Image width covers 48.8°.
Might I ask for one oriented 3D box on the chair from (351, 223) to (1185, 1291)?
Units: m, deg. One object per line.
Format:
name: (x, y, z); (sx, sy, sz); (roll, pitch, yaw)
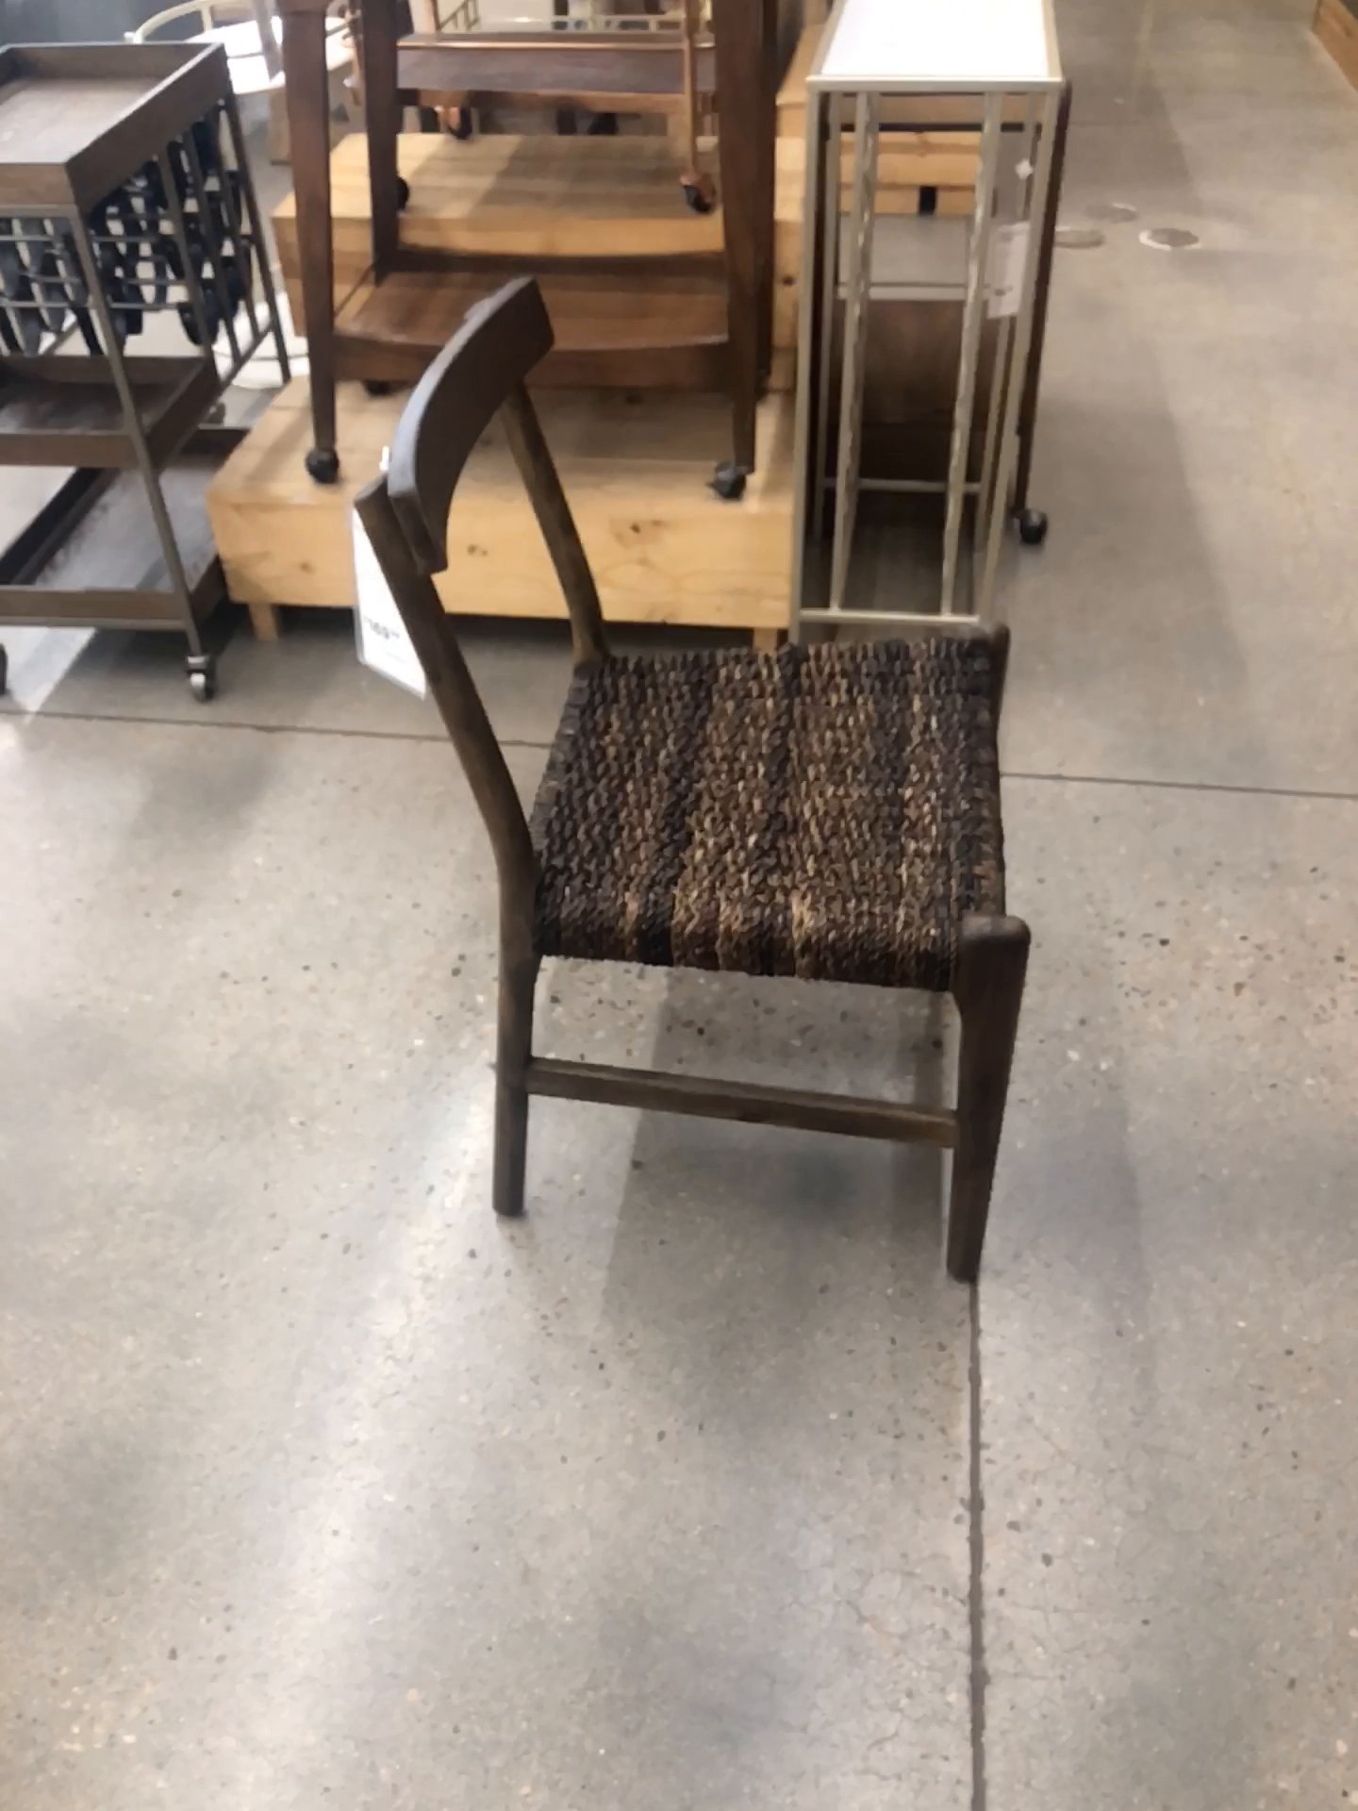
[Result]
chair: (0.090, -0.129, 1.429); (0.532, 0.816, 0.551); (4, 42, 6)
